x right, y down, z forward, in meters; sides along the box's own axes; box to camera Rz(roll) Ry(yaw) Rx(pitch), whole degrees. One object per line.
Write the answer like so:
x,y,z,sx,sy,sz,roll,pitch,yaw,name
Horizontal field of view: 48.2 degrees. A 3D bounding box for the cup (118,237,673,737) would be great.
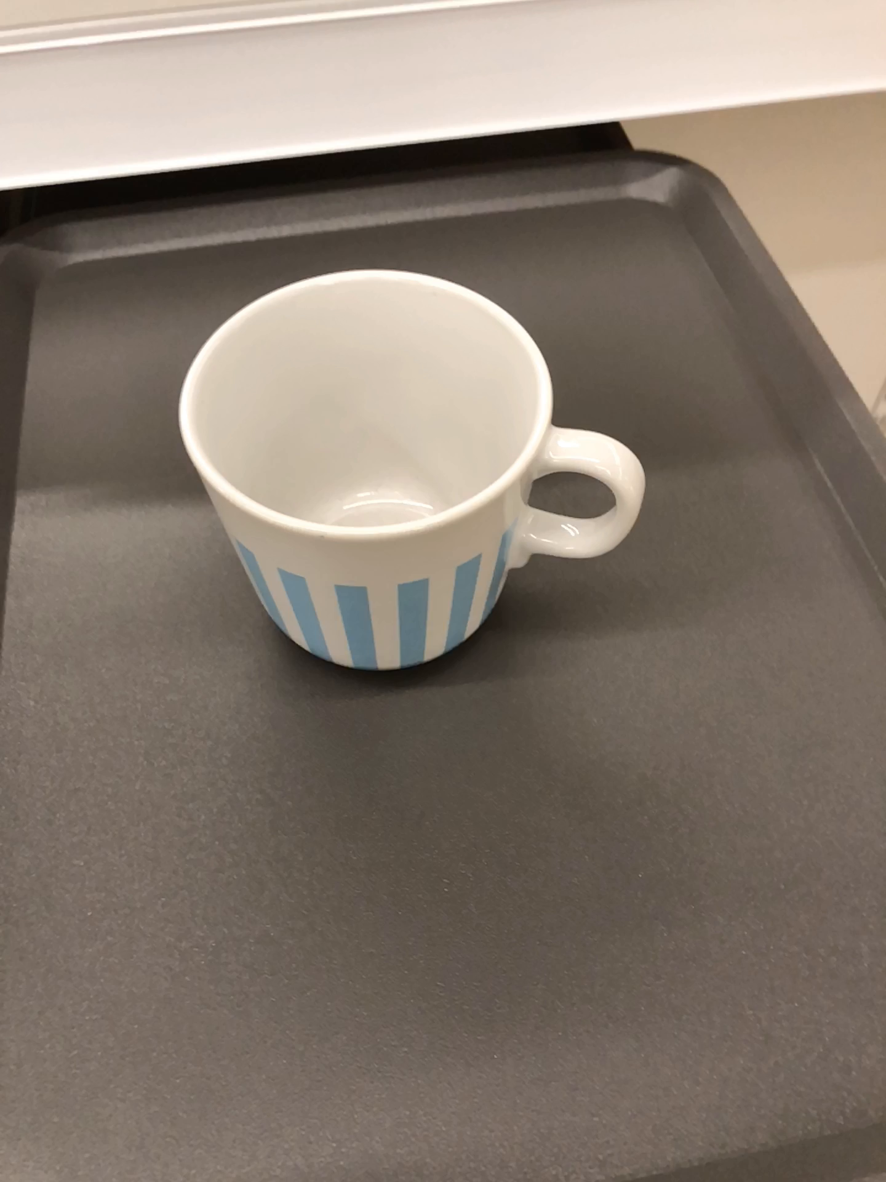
-0.005,-0.028,0.254,0.110,0.070,0.090,9,53,6,cup
